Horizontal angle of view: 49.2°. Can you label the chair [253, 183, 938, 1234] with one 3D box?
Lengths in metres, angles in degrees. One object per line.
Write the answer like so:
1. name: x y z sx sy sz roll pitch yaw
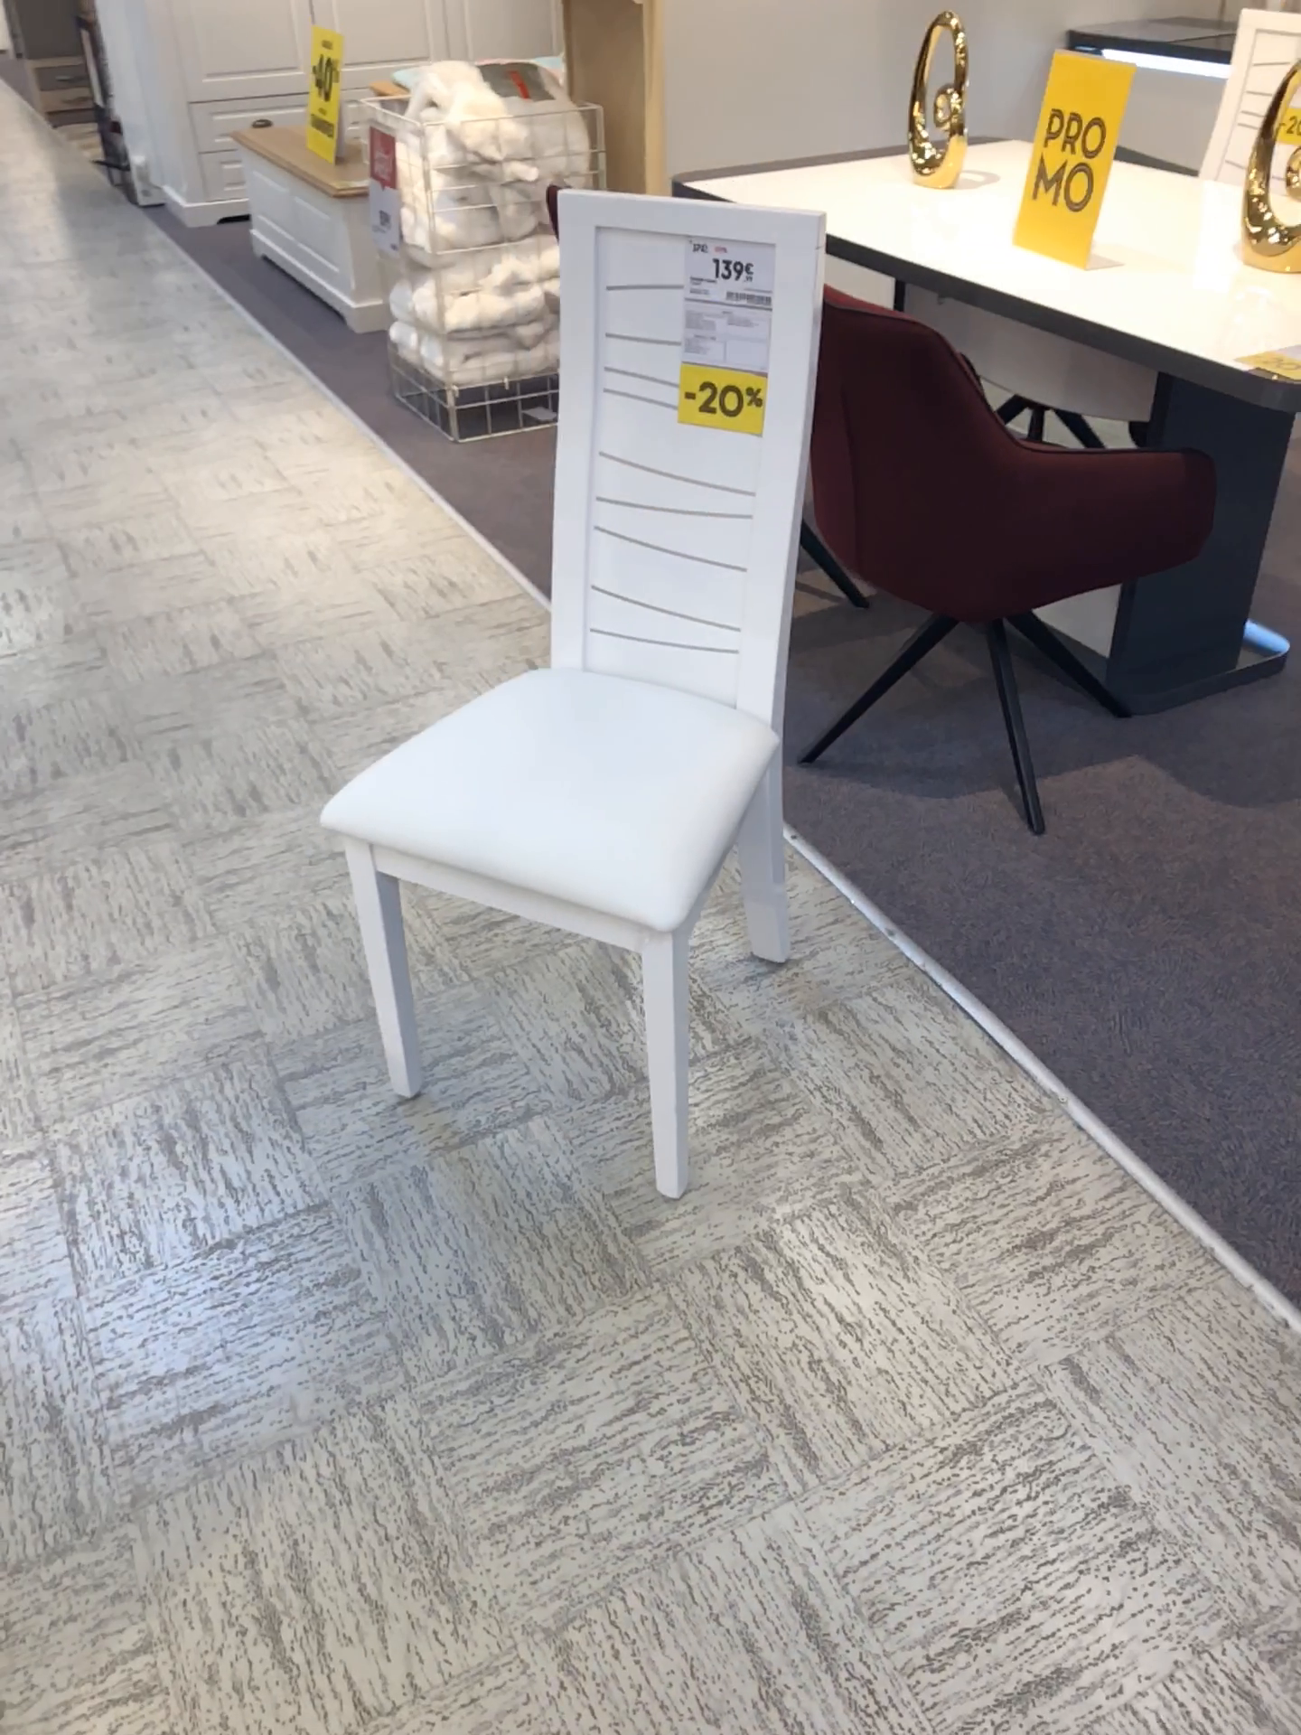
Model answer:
1. chair: -0.016 -0.181 1.650 0.450 1.004 0.544 16 39 22
